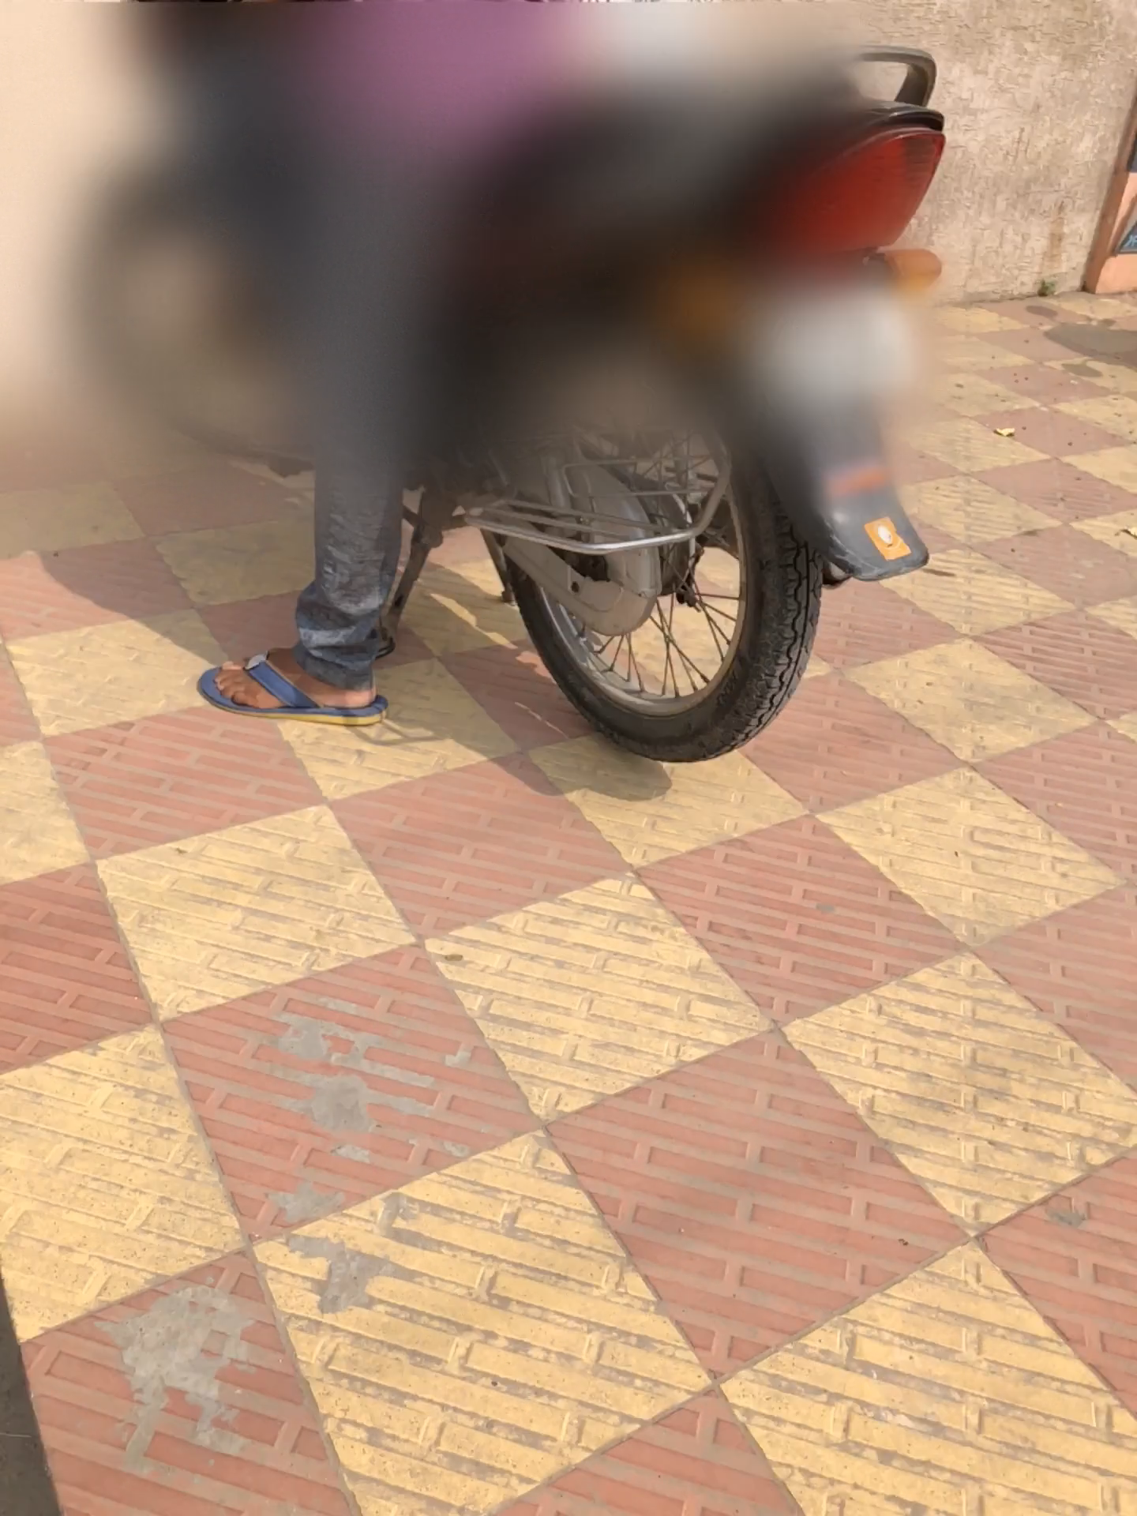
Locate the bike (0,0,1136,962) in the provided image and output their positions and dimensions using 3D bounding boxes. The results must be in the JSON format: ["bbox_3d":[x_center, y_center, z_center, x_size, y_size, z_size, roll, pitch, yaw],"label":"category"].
[{"bbox_3d":[-0.372,-0.725,1.820,1.723,1.066,0.896,31,42,34],"label":"bike"}]
